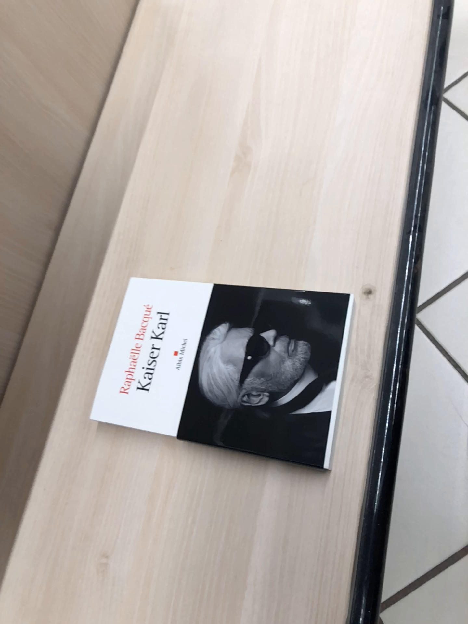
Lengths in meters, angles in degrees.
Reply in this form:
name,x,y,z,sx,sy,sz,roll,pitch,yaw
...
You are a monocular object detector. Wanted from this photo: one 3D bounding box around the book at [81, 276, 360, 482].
name,x,y,z,sx,sy,sz,roll,pitch,yaw
book,-0.013,0.049,0.452,0.220,0.030,0.150,5,70,21
